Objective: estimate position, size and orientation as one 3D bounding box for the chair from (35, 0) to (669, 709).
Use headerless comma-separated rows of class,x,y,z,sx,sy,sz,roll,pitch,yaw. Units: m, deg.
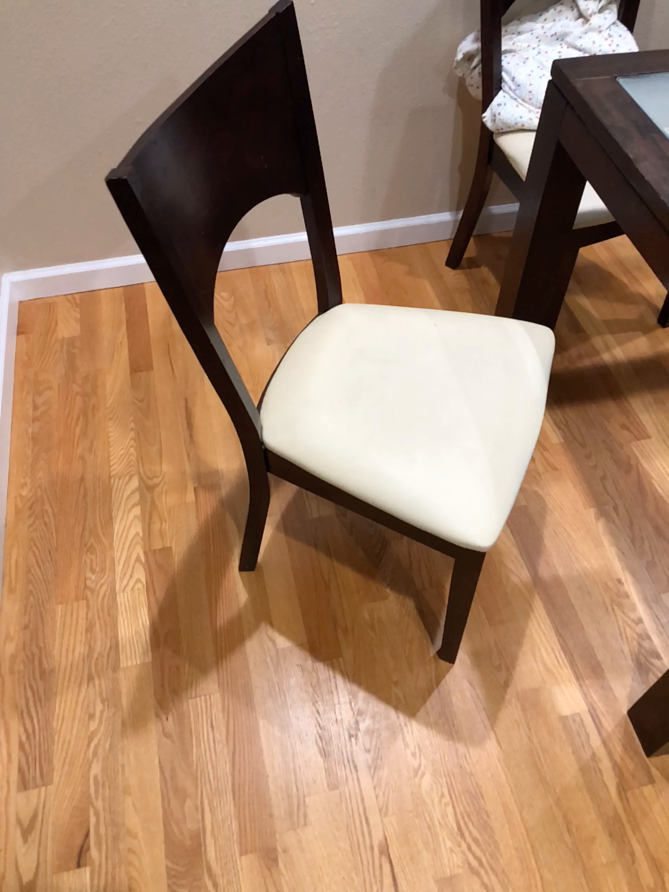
chair,0.068,-0.095,1.120,0.530,0.906,0.522,19,54,14
